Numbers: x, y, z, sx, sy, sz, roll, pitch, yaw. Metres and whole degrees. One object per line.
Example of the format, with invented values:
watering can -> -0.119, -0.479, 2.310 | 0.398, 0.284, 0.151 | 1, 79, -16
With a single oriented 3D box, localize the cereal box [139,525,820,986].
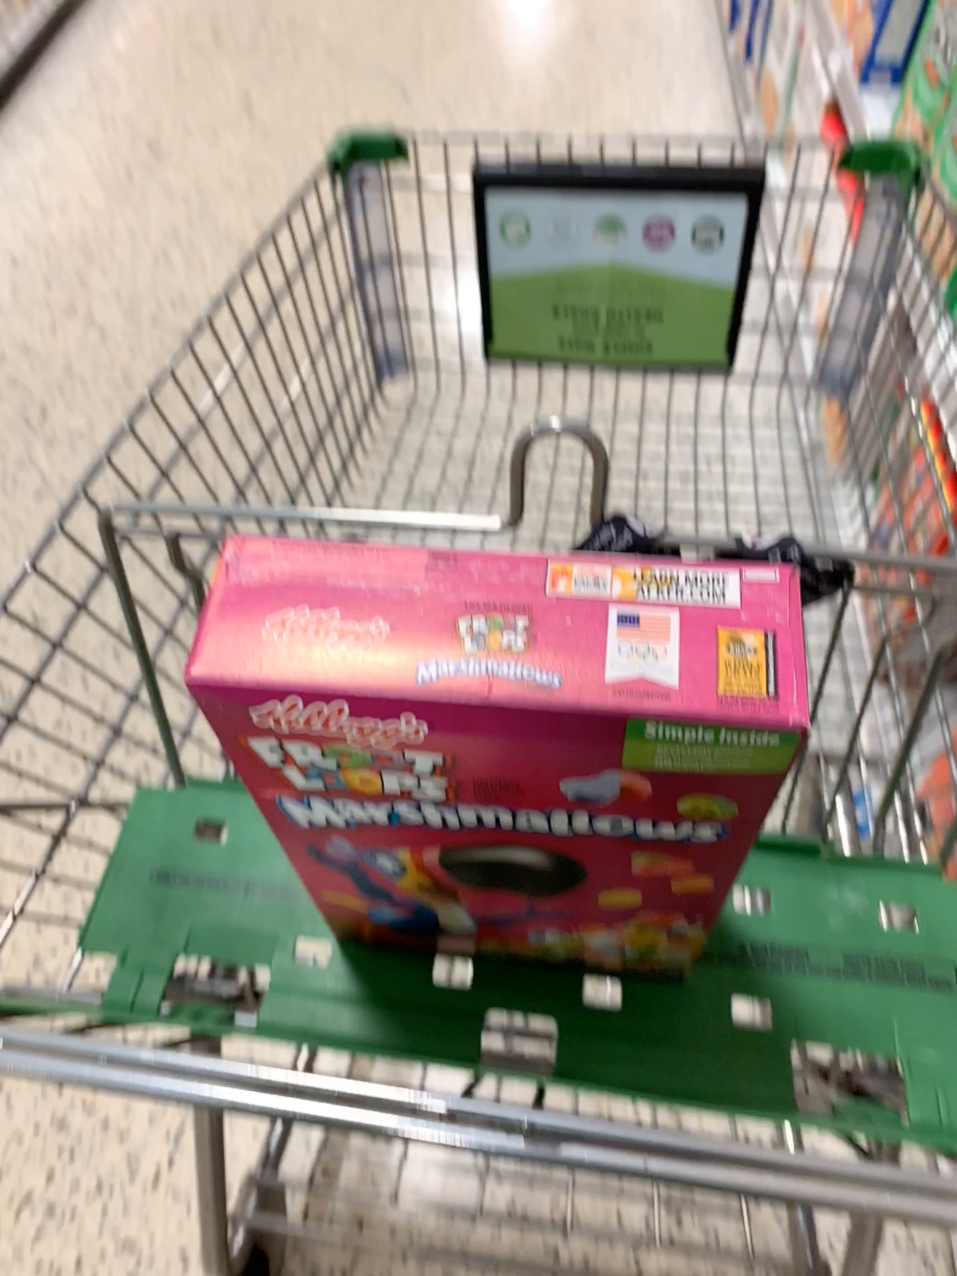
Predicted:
cereal box -> 0.008, 0.072, 0.426 | 0.200, 0.288, 0.060 | 4, 58, 7
